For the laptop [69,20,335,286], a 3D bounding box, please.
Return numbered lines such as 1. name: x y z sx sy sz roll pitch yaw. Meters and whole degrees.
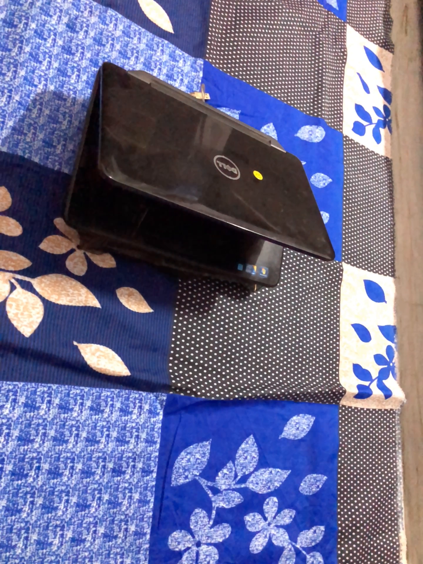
1. laptop: 0.009 -0.159 0.683 0.363 0.092 0.236 16 76 -31
